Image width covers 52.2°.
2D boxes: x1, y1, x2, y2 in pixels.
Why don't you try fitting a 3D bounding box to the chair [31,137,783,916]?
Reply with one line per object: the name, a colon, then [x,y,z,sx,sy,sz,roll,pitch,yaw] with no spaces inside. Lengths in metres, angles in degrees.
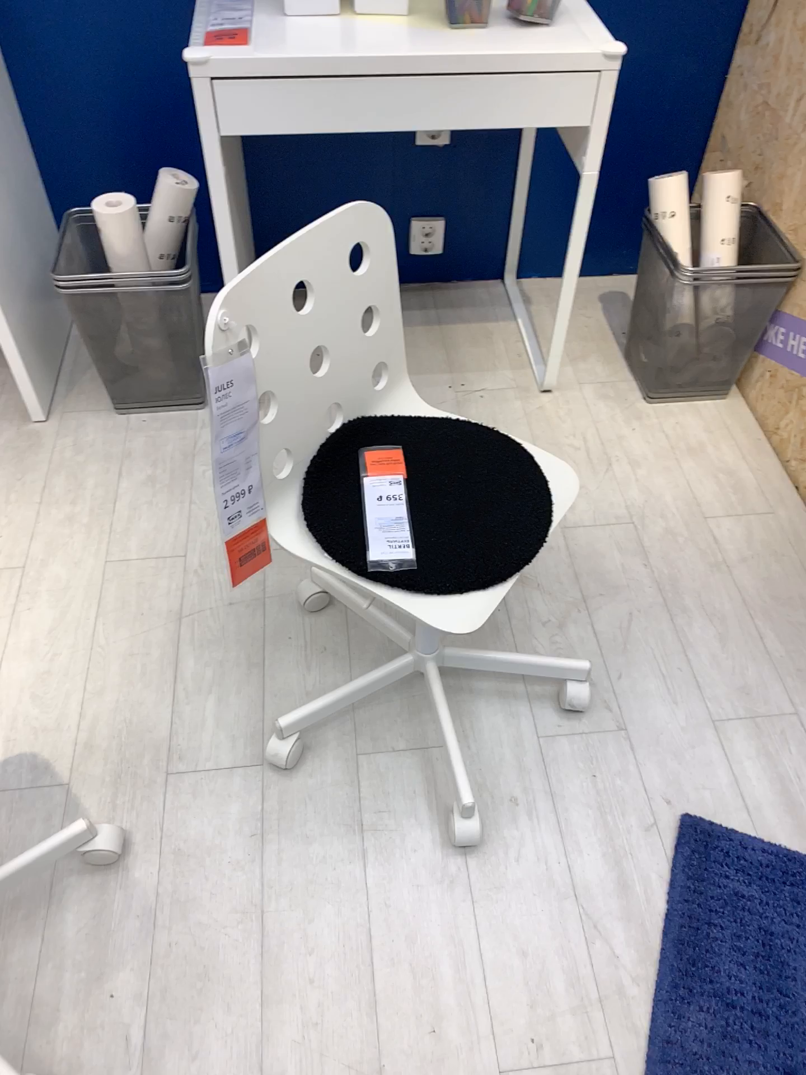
chair: [0.032,-0.011,1.166,0.590,0.737,0.602,25,53,19]
